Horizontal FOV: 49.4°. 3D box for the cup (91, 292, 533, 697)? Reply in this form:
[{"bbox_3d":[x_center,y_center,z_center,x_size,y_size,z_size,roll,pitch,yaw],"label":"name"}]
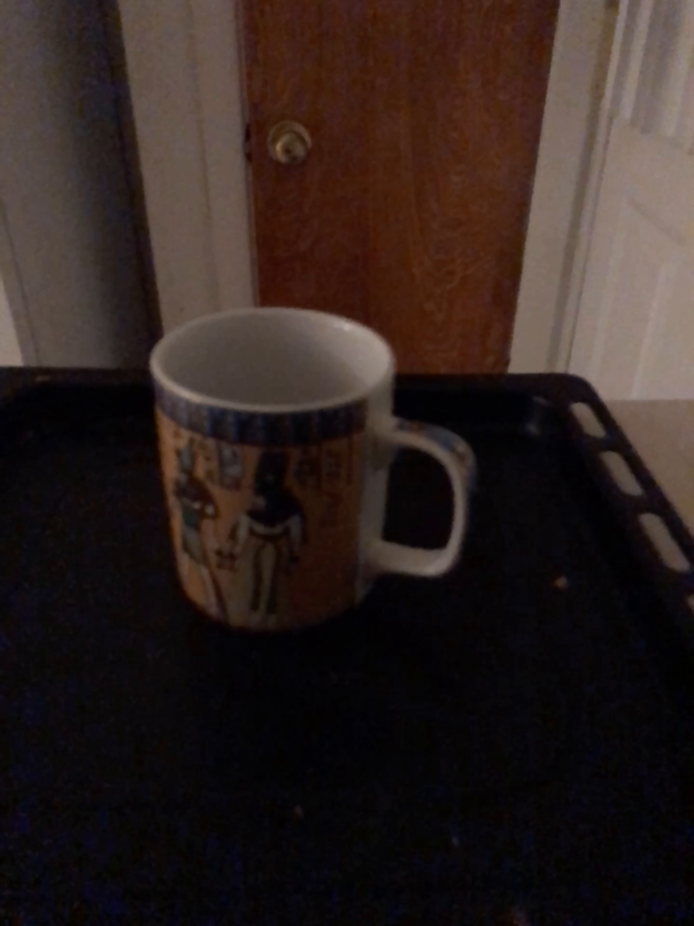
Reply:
[{"bbox_3d":[-0.008,0.004,0.266,0.120,0.089,0.081,12,35,17],"label":"cup"}]
